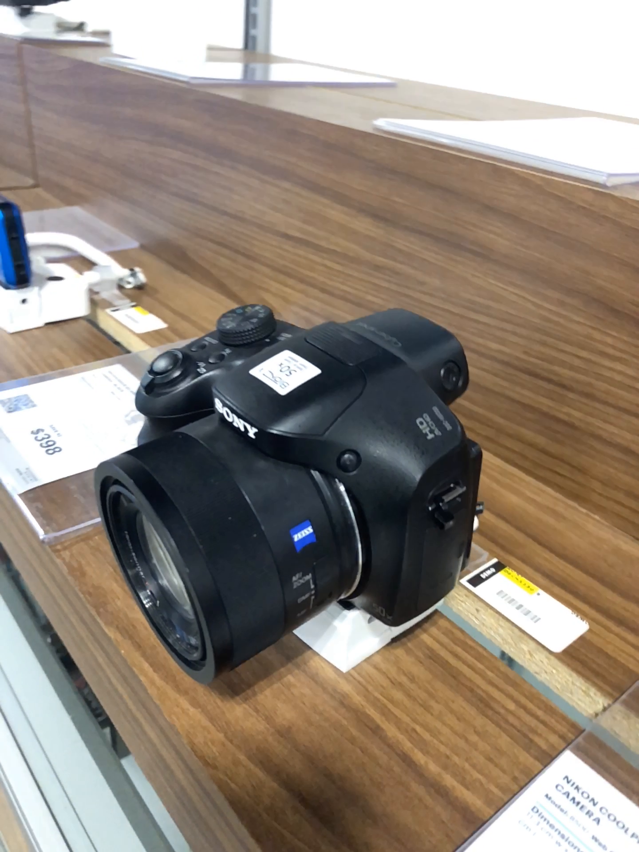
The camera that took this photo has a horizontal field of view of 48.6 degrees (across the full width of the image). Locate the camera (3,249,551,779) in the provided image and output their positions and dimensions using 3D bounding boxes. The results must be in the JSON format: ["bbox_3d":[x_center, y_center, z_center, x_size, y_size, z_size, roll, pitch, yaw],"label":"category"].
[{"bbox_3d":[-0.017,0.013,0.250,0.120,0.089,0.131,-26,41,-31],"label":"camera"}]
